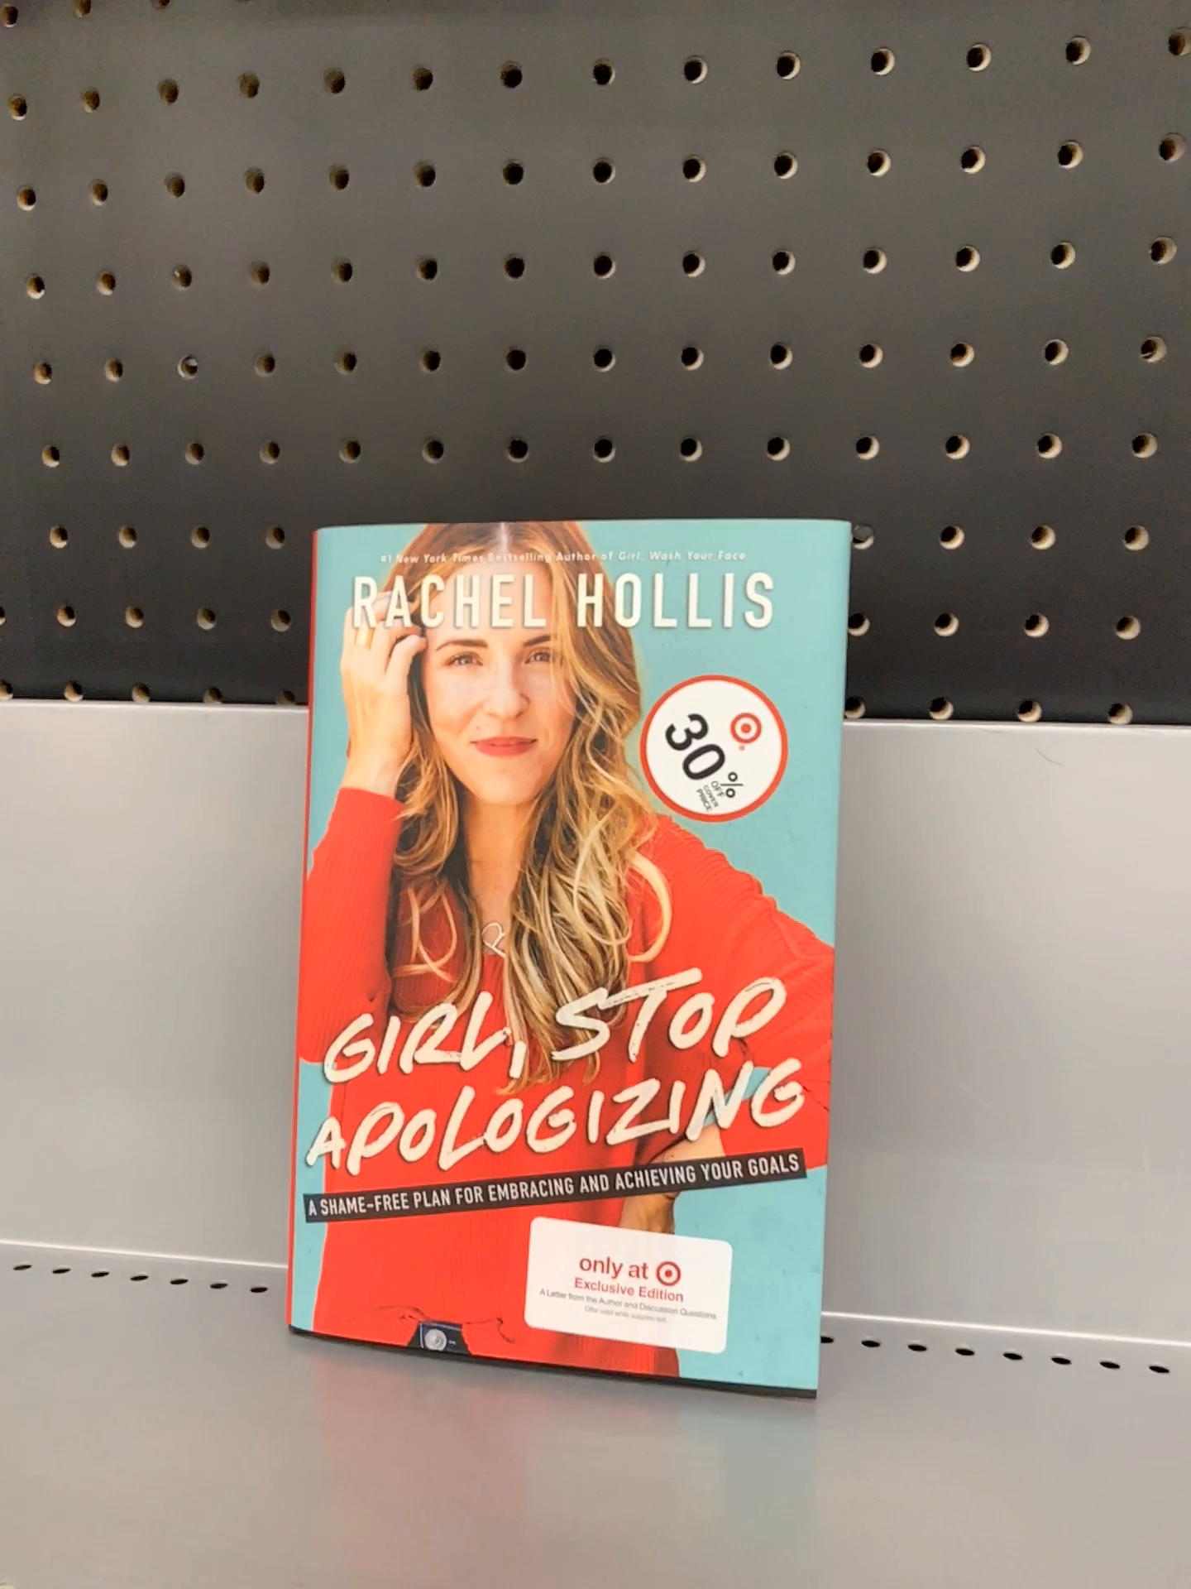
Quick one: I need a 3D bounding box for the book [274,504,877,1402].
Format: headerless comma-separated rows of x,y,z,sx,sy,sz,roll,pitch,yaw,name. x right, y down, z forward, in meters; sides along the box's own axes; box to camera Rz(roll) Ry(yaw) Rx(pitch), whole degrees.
-0.005,0.035,0.336,0.149,0.220,0.035,2,-1,11,book
